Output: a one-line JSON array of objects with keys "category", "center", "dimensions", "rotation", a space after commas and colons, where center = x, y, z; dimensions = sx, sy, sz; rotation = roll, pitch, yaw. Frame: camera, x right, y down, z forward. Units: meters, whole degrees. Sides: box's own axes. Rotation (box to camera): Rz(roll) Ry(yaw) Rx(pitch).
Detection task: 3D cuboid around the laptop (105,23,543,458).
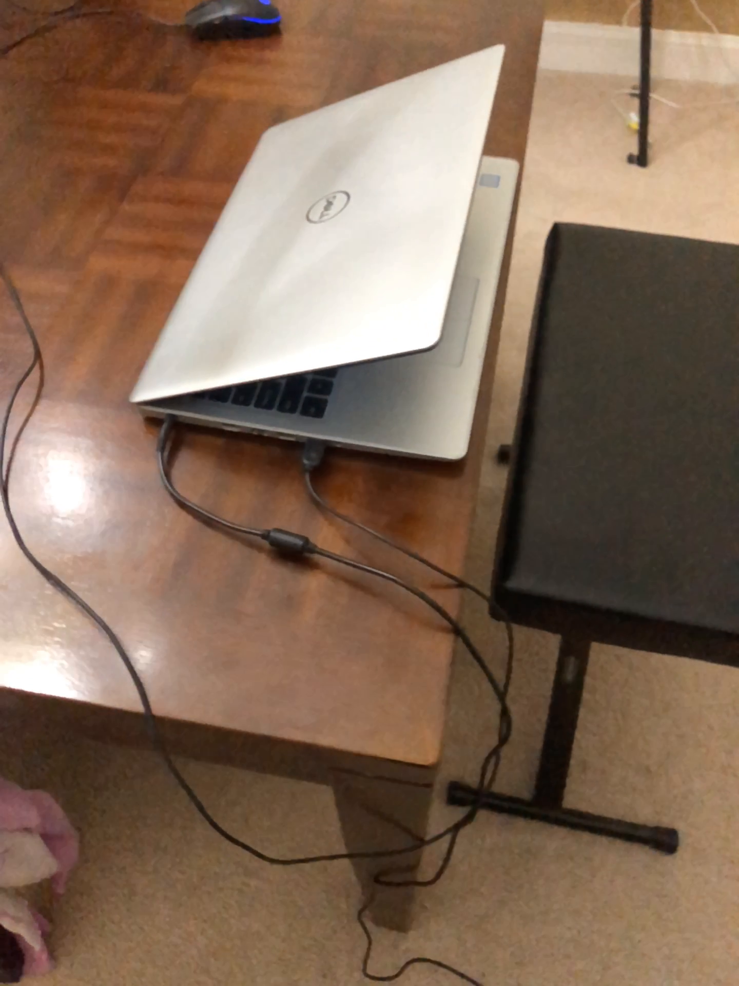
[{"category": "laptop", "center": [-0.009, -0.224, 0.662], "dimensions": [0.249, 0.103, 0.370], "rotation": [10, 56, 6]}]
